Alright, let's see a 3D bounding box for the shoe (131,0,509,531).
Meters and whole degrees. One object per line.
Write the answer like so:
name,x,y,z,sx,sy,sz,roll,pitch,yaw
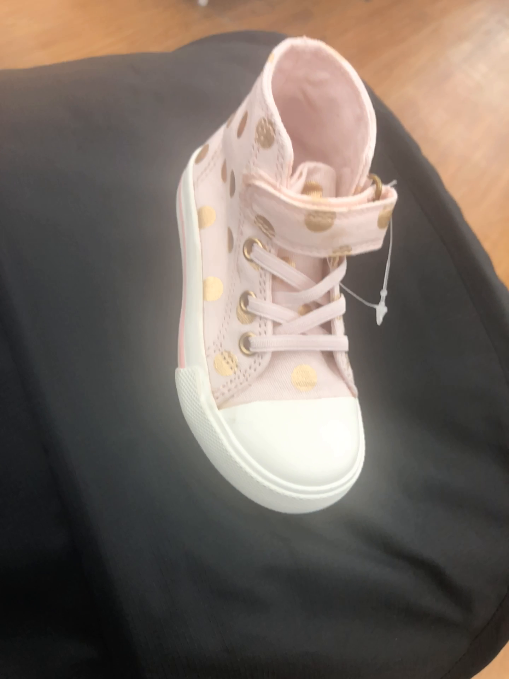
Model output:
shoe,0.014,-0.032,0.218,0.080,0.100,0.170,-1,61,-25
